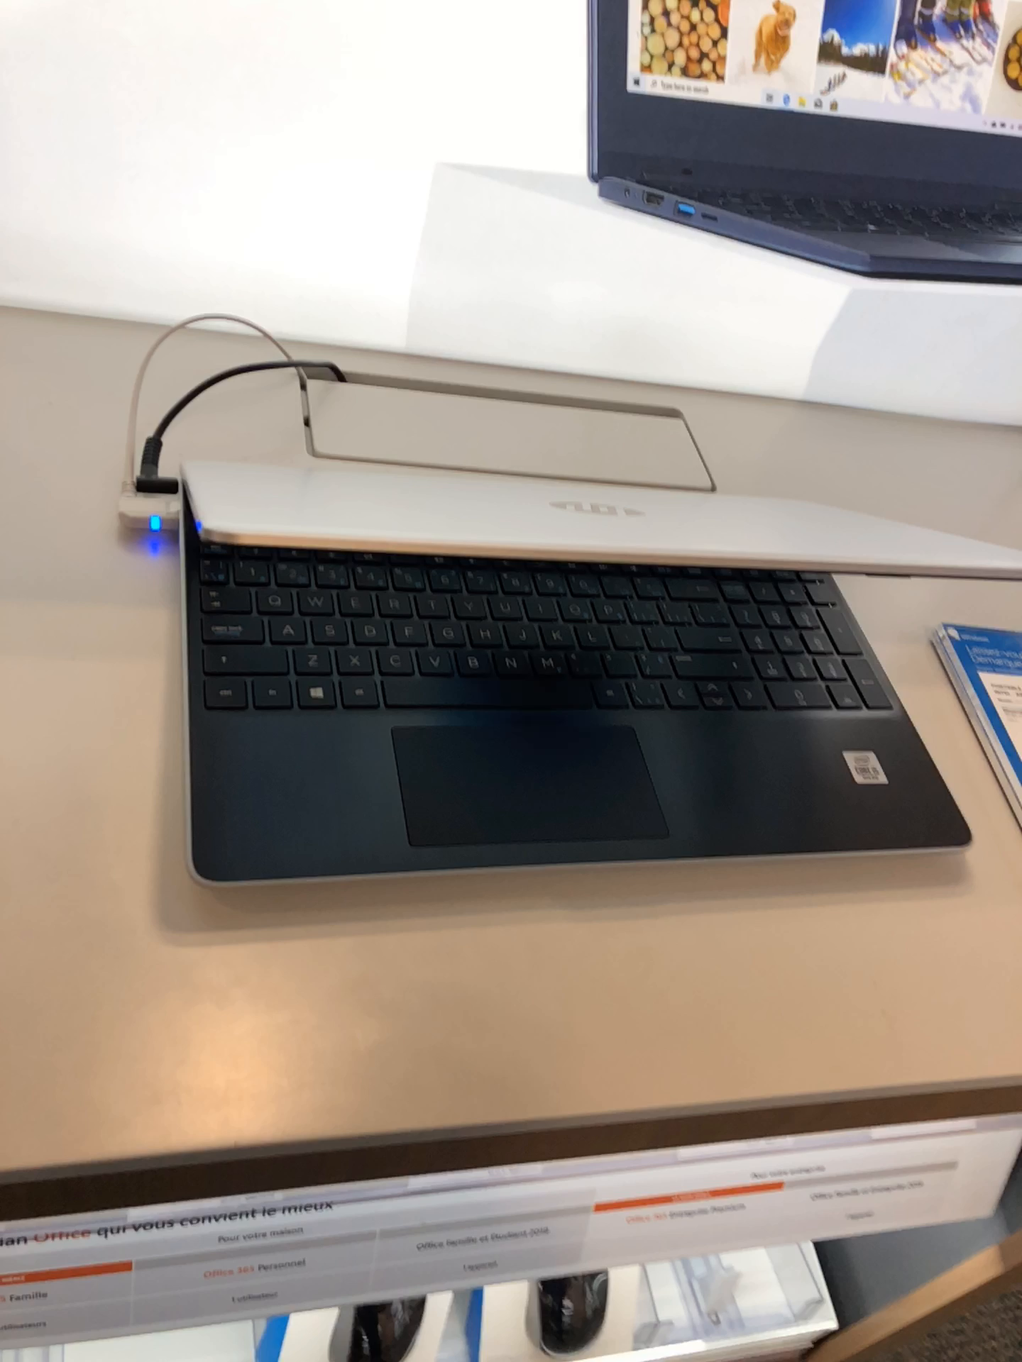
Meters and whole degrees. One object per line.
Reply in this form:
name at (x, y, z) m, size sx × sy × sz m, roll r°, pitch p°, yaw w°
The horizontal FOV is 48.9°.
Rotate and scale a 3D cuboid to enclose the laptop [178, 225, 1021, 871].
laptop at (0.038, -0.059, 0.496) m, size 0.346 × 0.131 × 0.230 m, roll 0°, pitch 49°, yaw -18°
